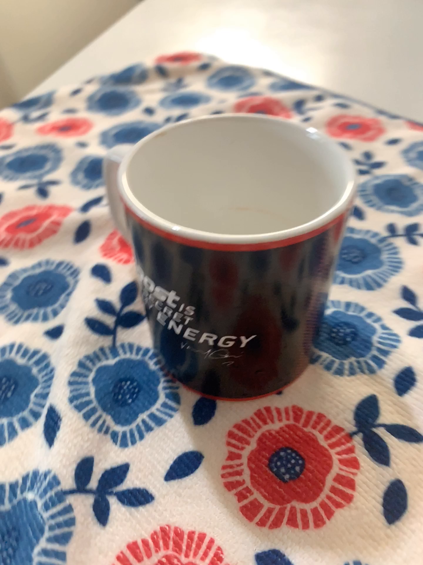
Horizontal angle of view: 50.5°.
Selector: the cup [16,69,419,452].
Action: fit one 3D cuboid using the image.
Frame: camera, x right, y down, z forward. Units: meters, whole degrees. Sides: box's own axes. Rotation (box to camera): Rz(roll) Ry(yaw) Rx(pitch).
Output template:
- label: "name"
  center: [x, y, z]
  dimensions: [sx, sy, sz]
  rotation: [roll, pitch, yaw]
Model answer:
- label: "cup"
  center: [0.000, -0.017, 0.182]
  dimensions: [0.110, 0.089, 0.080]
  rotation: [31, 52, 29]
